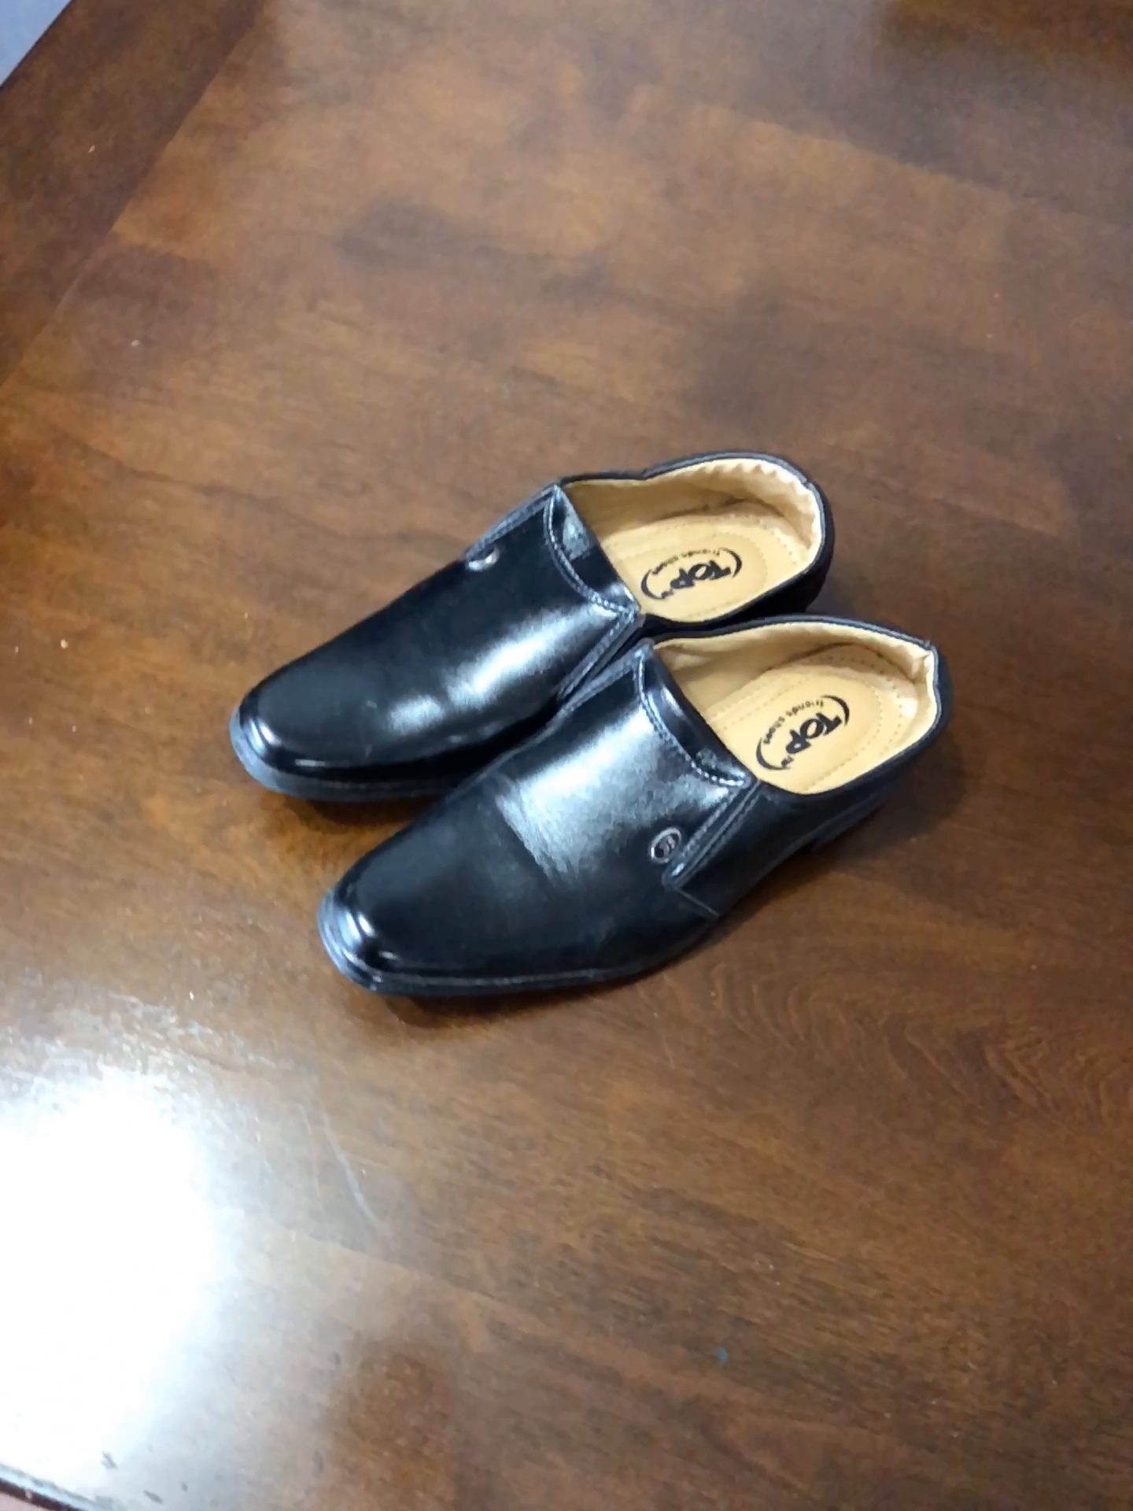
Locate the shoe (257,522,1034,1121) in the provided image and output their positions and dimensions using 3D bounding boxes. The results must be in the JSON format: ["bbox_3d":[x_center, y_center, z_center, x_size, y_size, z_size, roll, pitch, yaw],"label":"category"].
[{"bbox_3d":[0.026,0.021,0.430,0.230,0.090,0.090,-25,69,-17],"label":"shoe"}]

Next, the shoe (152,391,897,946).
[{"bbox_3d":[-0.012,-0.034,0.448,0.230,0.080,0.090,-25,69,-17],"label":"shoe"}]
